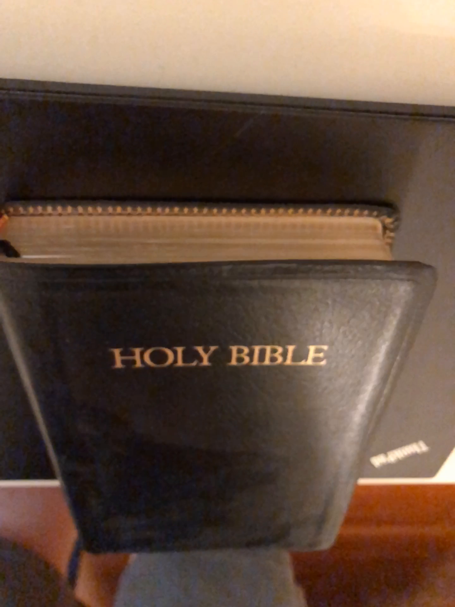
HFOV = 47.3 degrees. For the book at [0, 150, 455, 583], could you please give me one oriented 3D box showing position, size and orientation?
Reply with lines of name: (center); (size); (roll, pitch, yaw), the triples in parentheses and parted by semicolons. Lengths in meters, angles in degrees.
book: (-0.010, 0.055, 0.237); (0.170, 0.040, 0.241); (0, 131, -4)
